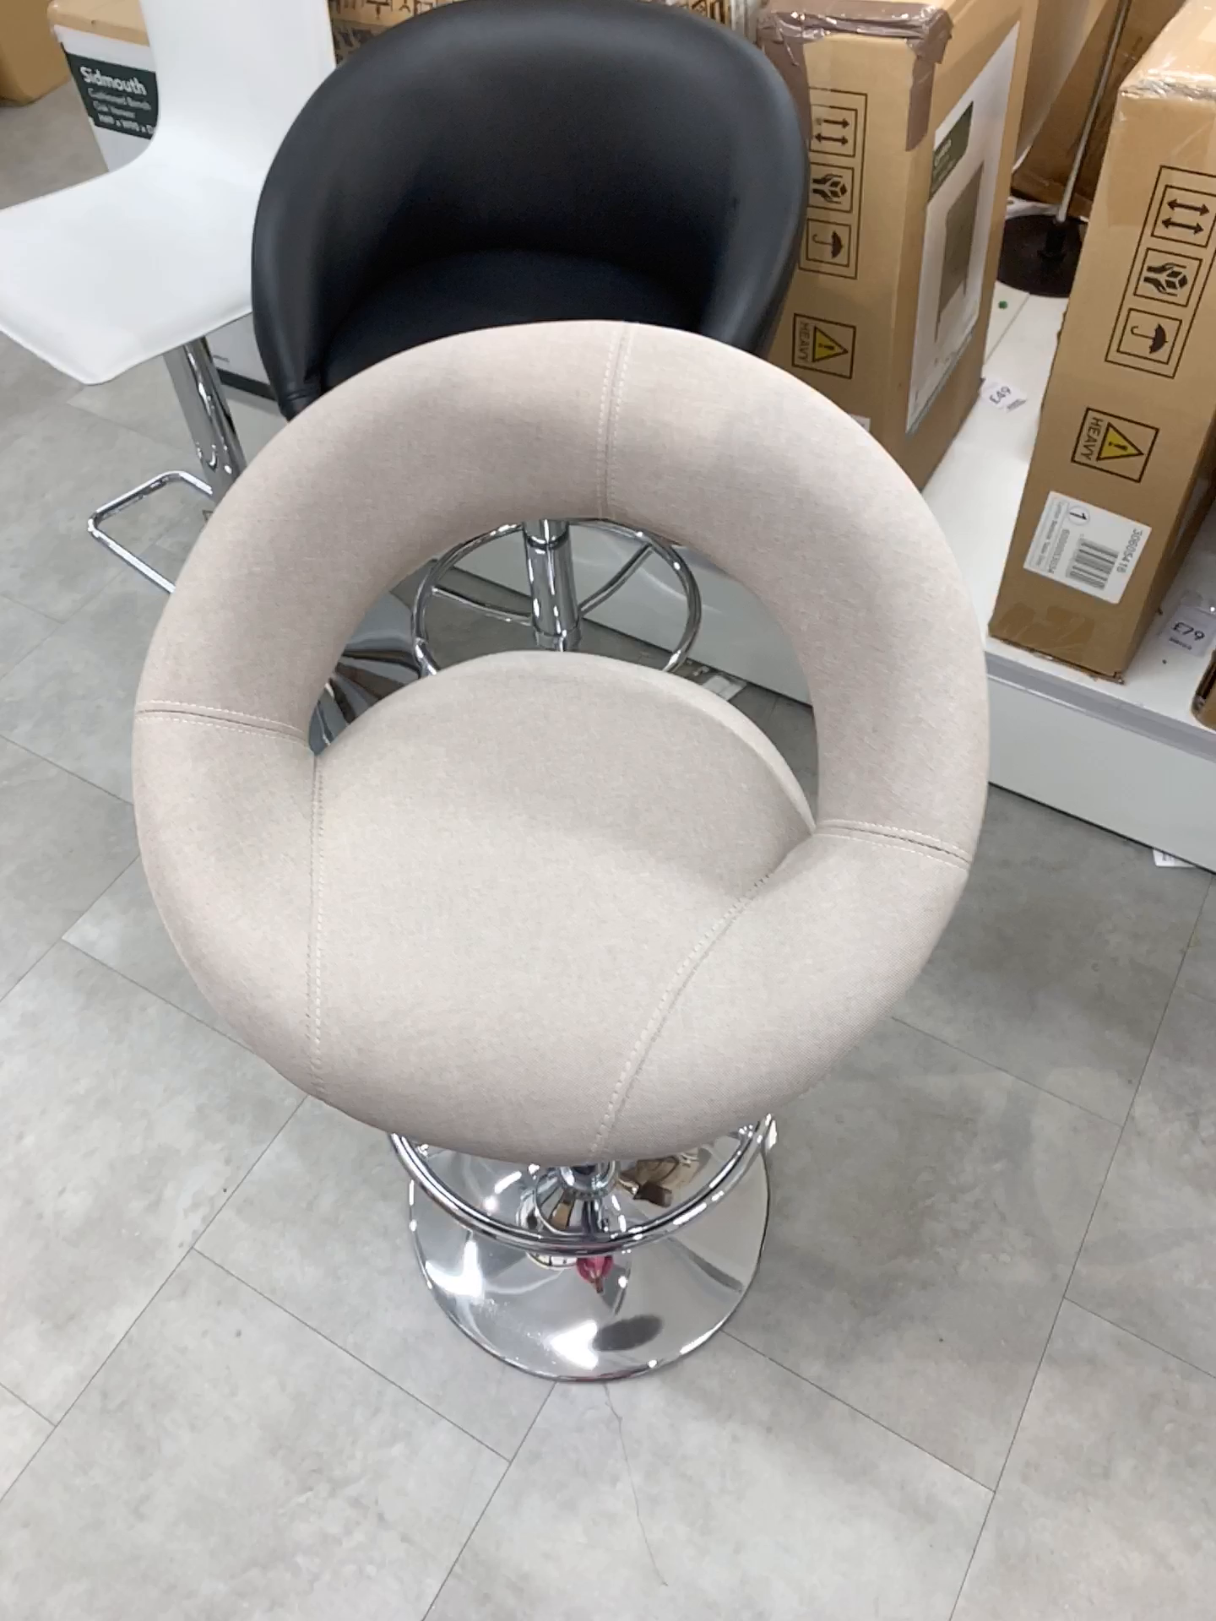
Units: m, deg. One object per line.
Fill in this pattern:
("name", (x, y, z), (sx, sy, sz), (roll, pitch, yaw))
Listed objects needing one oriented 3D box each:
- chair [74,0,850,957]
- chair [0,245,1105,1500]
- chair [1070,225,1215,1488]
("chair", (-0.088, -0.340, 1.457), (0.517, 0.934, 0.486), (17, 56, 15))
("chair", (-0.032, 0.148, 1.051), (0.567, 0.964, 0.486), (14, 56, 13))
("chair", (0.891, 0.103, 1.090), (0.518, 0.865, 0.545), (36, 63, 25))
